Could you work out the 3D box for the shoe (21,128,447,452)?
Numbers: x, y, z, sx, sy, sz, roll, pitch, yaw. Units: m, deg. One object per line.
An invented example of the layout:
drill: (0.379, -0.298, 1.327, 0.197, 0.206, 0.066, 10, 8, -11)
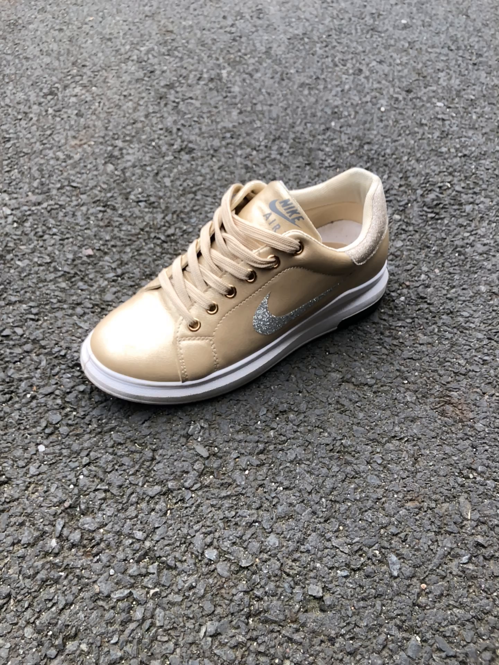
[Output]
shoe: (-0.005, -0.044, 0.404, 0.261, 0.099, 0.117, -25, 54, -22)
